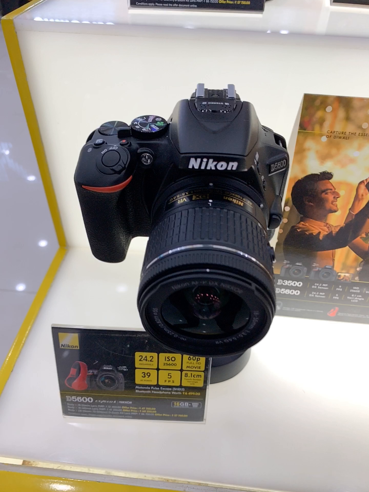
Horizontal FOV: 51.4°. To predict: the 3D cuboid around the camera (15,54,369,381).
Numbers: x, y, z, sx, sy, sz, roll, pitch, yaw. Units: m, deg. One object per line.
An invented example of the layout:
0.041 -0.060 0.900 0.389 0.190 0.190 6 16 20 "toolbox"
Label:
0.011 -0.028 0.206 0.120 0.090 0.161 3 43 1 "camera"
